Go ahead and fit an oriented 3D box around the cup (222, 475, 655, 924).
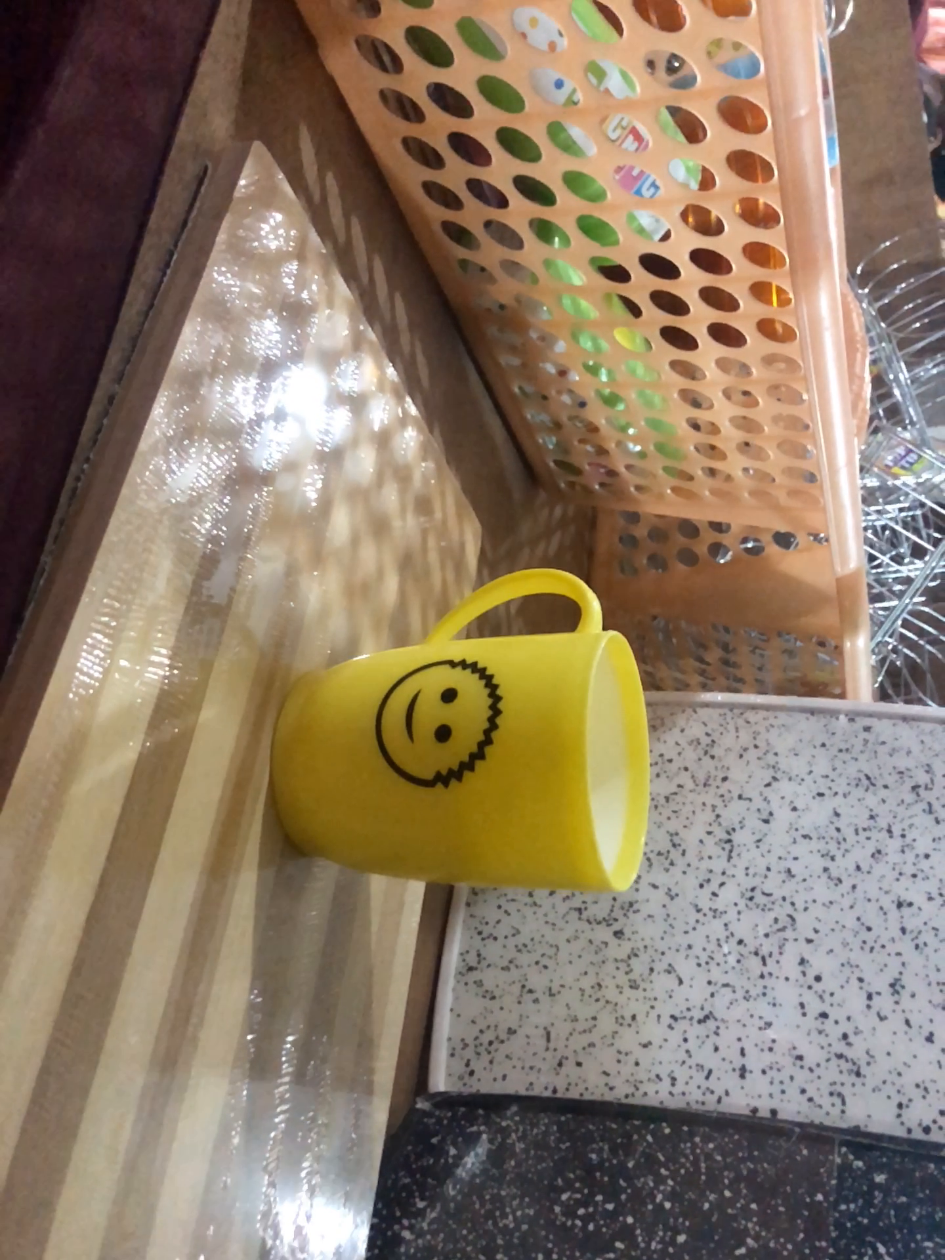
[{"bbox_3d":[-0.002,0.026,0.328,0.080,0.099,0.110,53,38,-55],"label":"cup"}]
